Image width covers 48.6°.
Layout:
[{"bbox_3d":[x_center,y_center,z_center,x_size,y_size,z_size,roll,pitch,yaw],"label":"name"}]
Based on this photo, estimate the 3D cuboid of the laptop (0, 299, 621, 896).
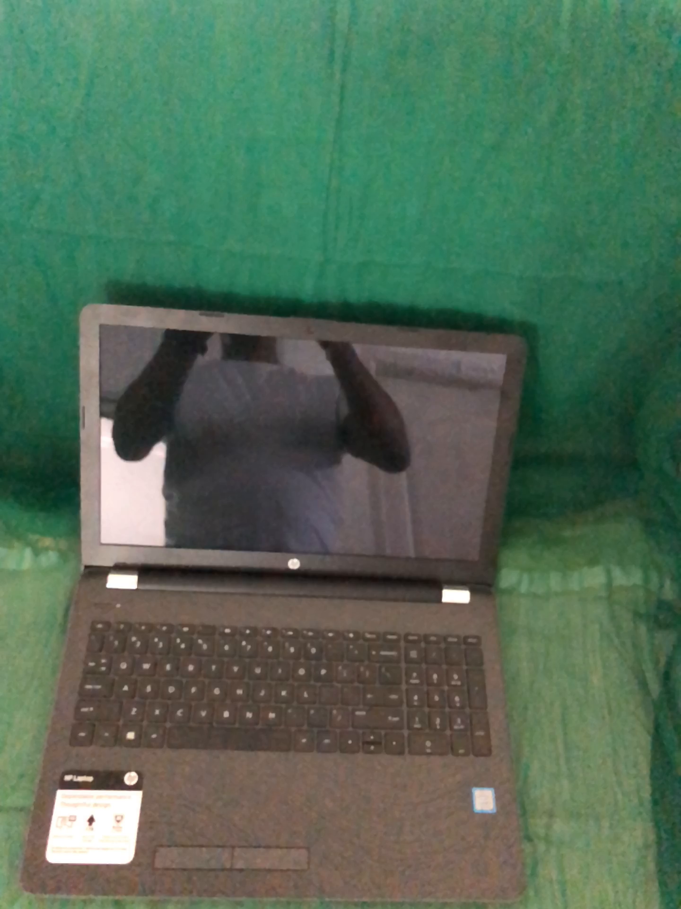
[{"bbox_3d":[-0.033,0.106,0.602,0.378,0.179,0.416,3,58,-5],"label":"laptop"}]
